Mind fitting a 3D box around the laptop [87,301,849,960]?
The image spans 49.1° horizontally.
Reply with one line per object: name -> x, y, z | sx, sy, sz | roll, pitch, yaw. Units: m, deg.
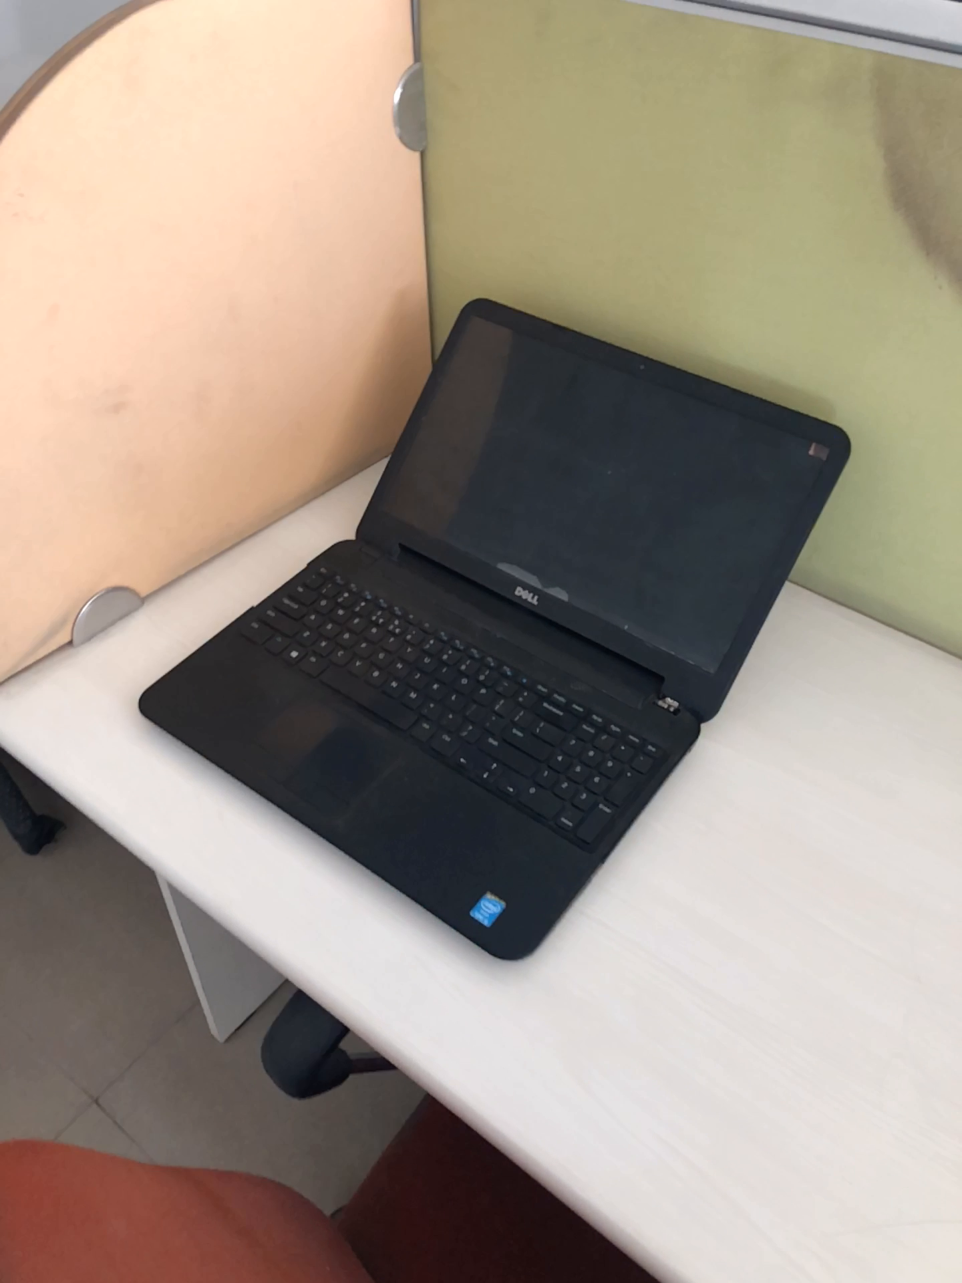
laptop -> 0.007, -0.052, 0.808 | 0.357, 0.165, 0.426 | 28, 50, 25
